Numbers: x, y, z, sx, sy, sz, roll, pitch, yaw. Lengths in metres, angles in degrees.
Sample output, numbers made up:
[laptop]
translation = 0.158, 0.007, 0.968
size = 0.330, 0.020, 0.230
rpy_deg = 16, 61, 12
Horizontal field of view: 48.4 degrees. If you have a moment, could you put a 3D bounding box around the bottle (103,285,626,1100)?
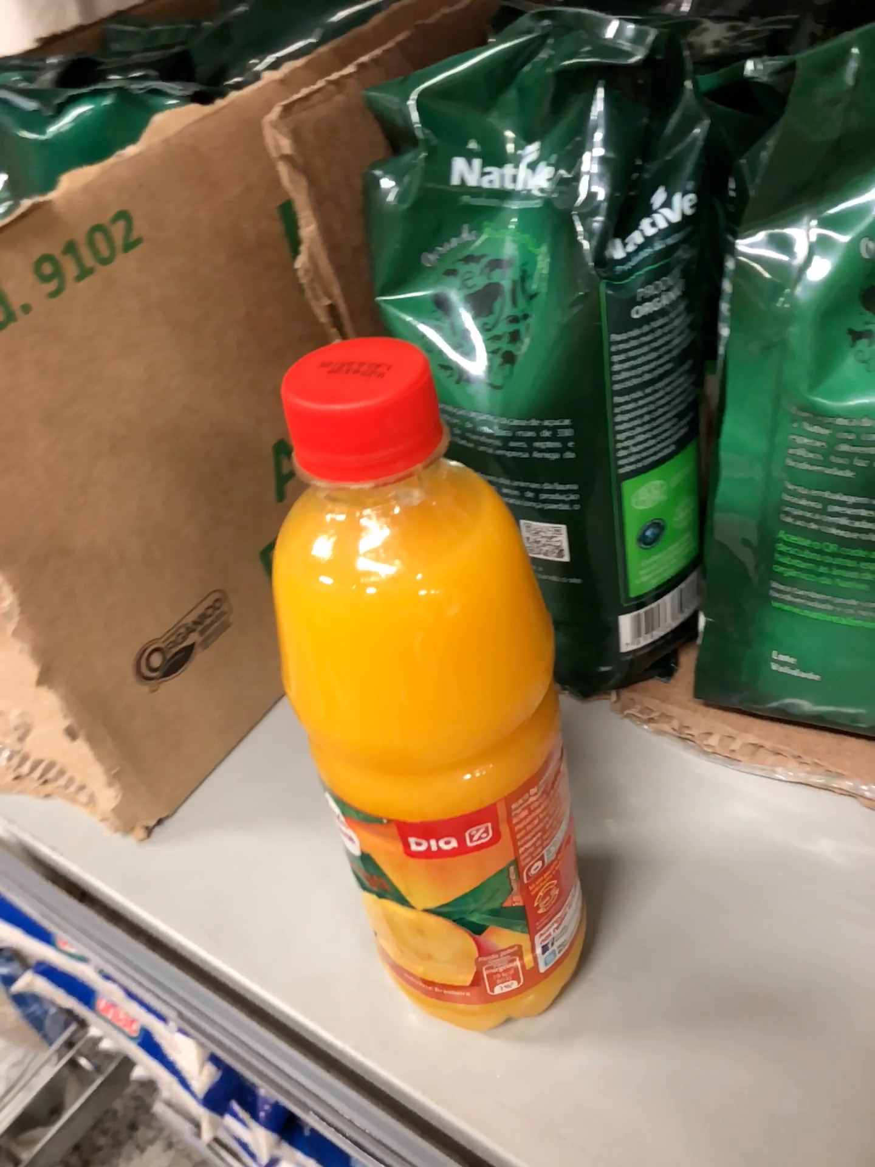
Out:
[bottle]
translation = -0.006, 0.039, 0.245
size = 0.060, 0.198, 0.070
rpy_deg = -29, 41, -18
